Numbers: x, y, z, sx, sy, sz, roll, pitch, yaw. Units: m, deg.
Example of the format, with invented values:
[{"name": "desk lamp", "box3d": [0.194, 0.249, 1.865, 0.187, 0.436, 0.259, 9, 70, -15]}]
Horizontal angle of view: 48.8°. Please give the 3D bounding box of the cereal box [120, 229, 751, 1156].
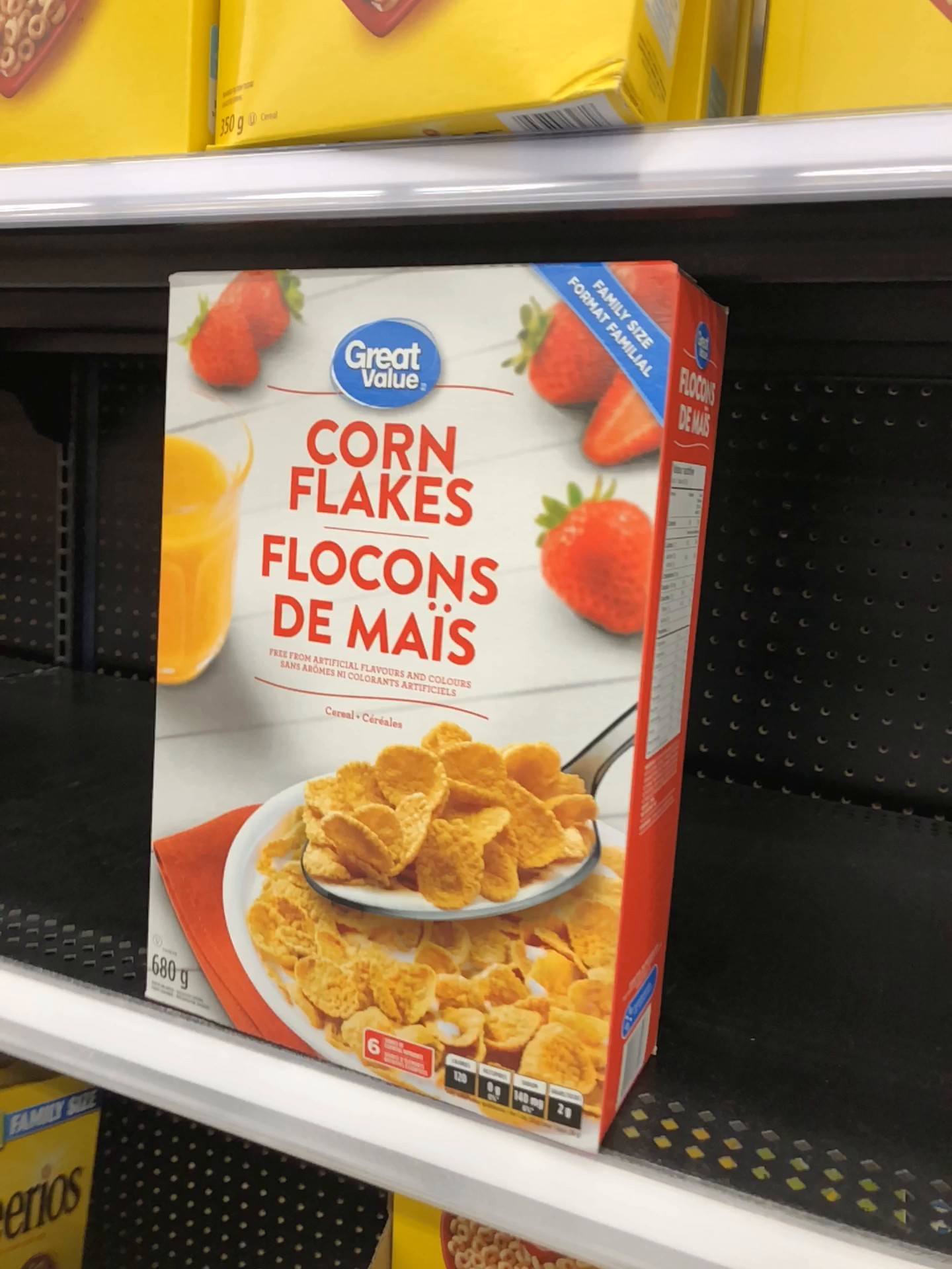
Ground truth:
[{"name": "cereal box", "box3d": [-0.027, 0.010, 0.455, 0.240, 0.329, 0.090, 8, 9, 24]}]
